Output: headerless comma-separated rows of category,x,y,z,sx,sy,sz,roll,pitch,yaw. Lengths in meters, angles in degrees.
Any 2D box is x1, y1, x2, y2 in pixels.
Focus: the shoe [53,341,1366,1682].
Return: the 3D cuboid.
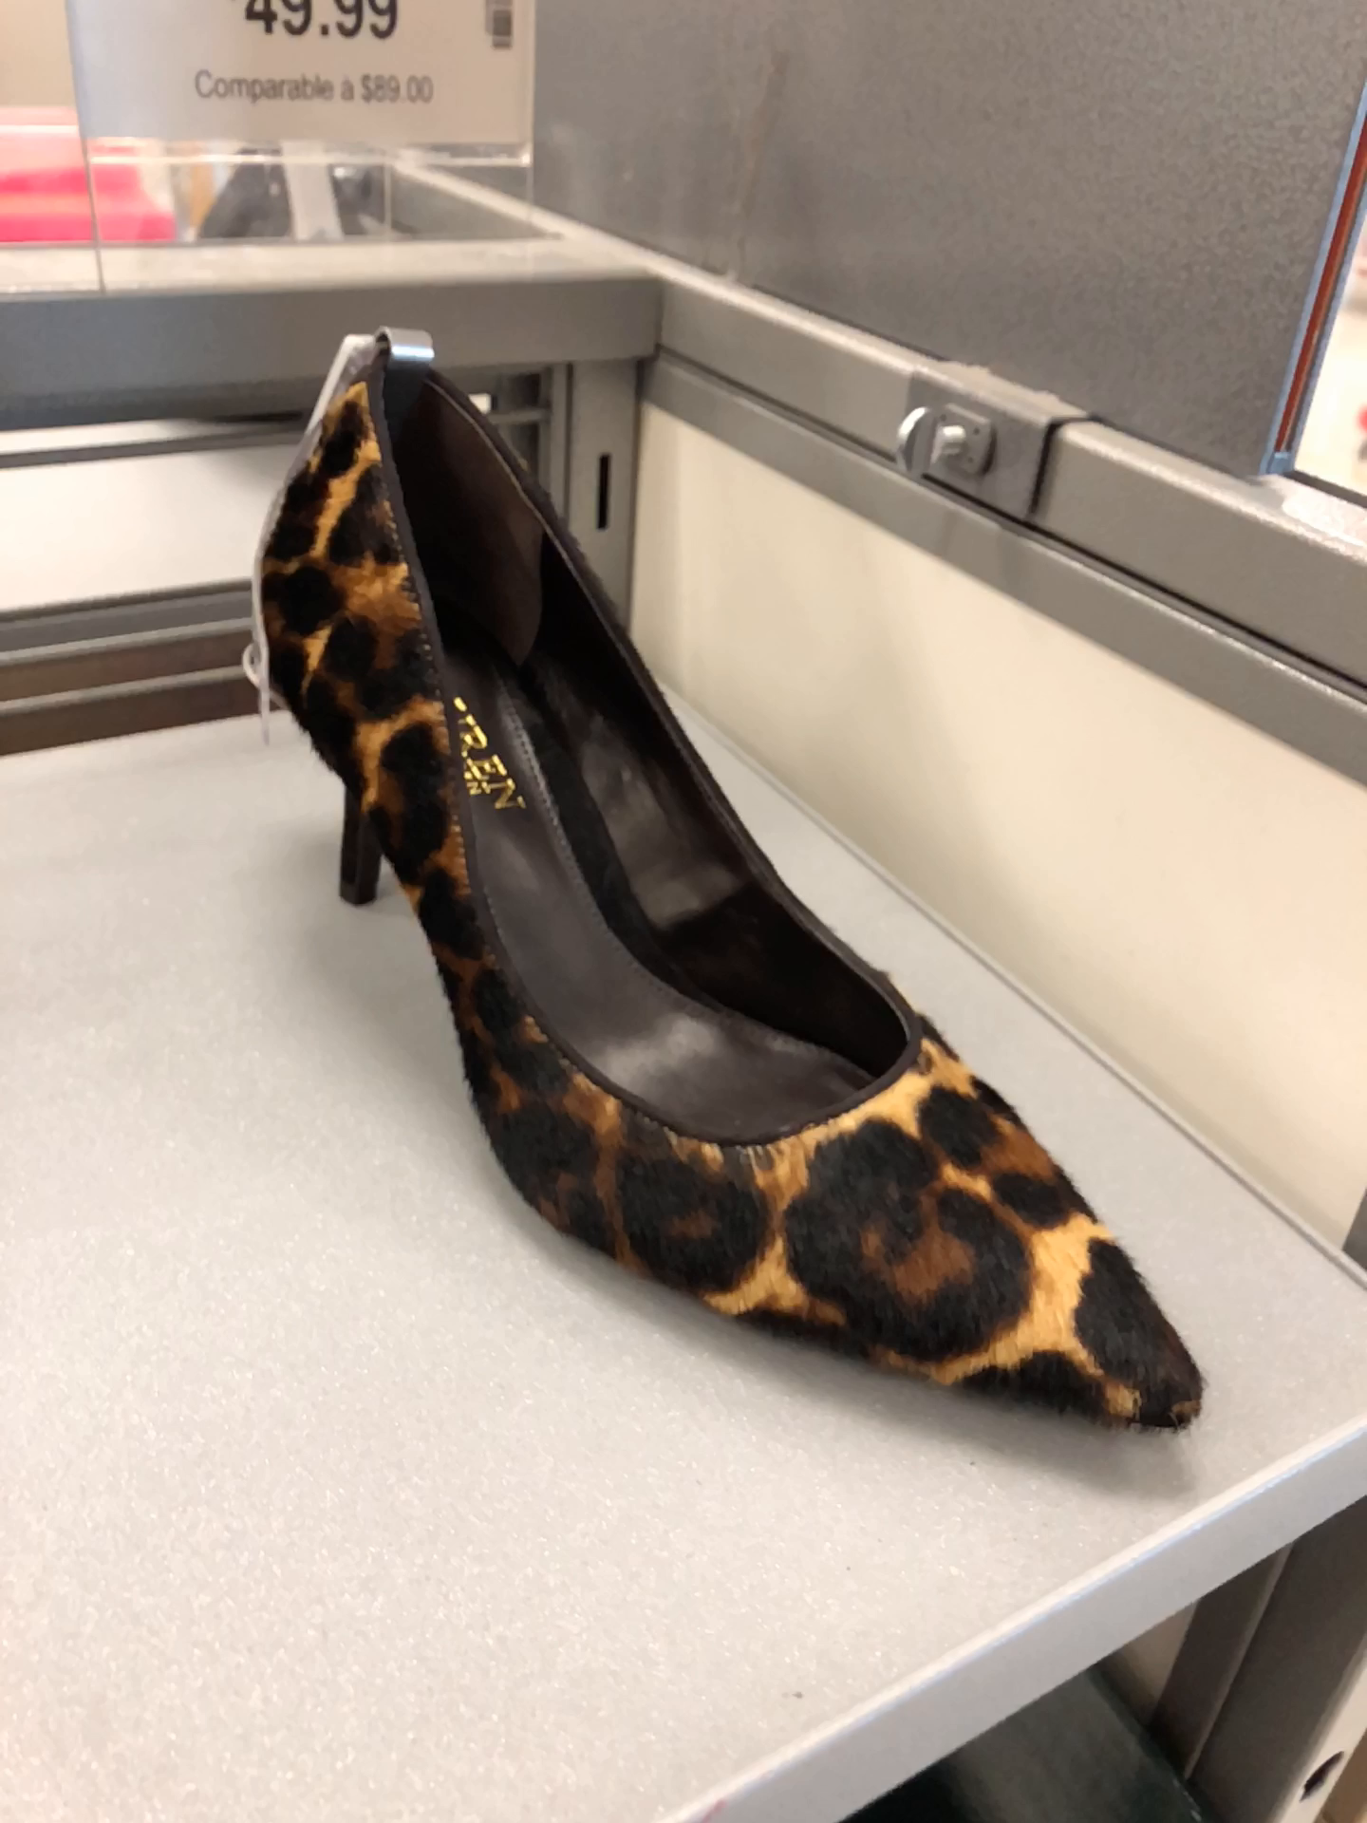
shoe,-0.015,-0.013,0.304,0.090,0.129,0.271,-23,42,-37
